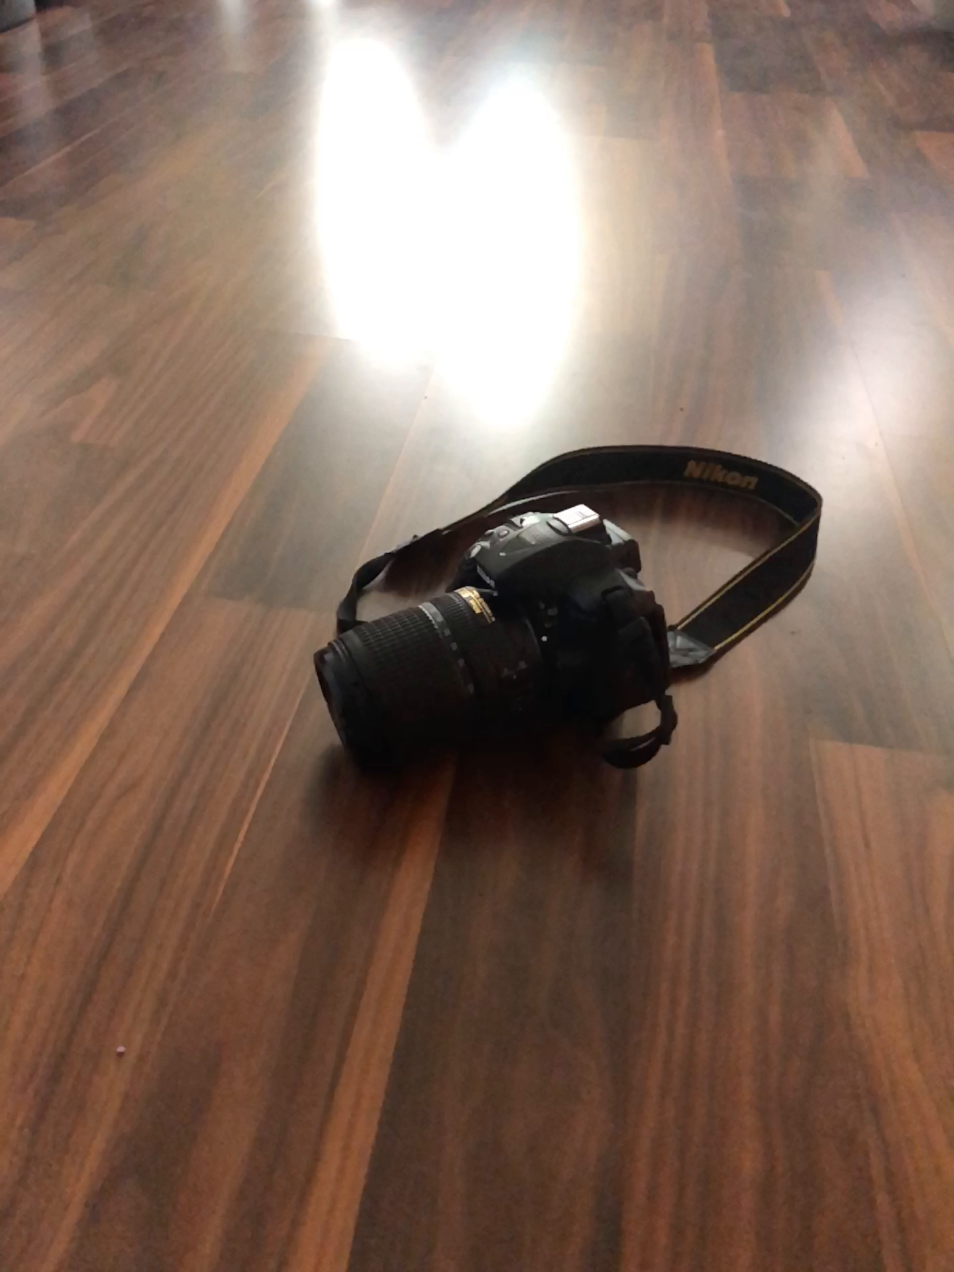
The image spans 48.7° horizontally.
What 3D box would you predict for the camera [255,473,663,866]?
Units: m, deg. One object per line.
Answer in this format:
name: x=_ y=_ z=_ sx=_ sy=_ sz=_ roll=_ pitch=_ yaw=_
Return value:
camera: x=-0.010 y=0.014 z=0.583 sx=0.180 sy=0.129 sz=0.110 roll=-18 pitch=43 yaw=-19
